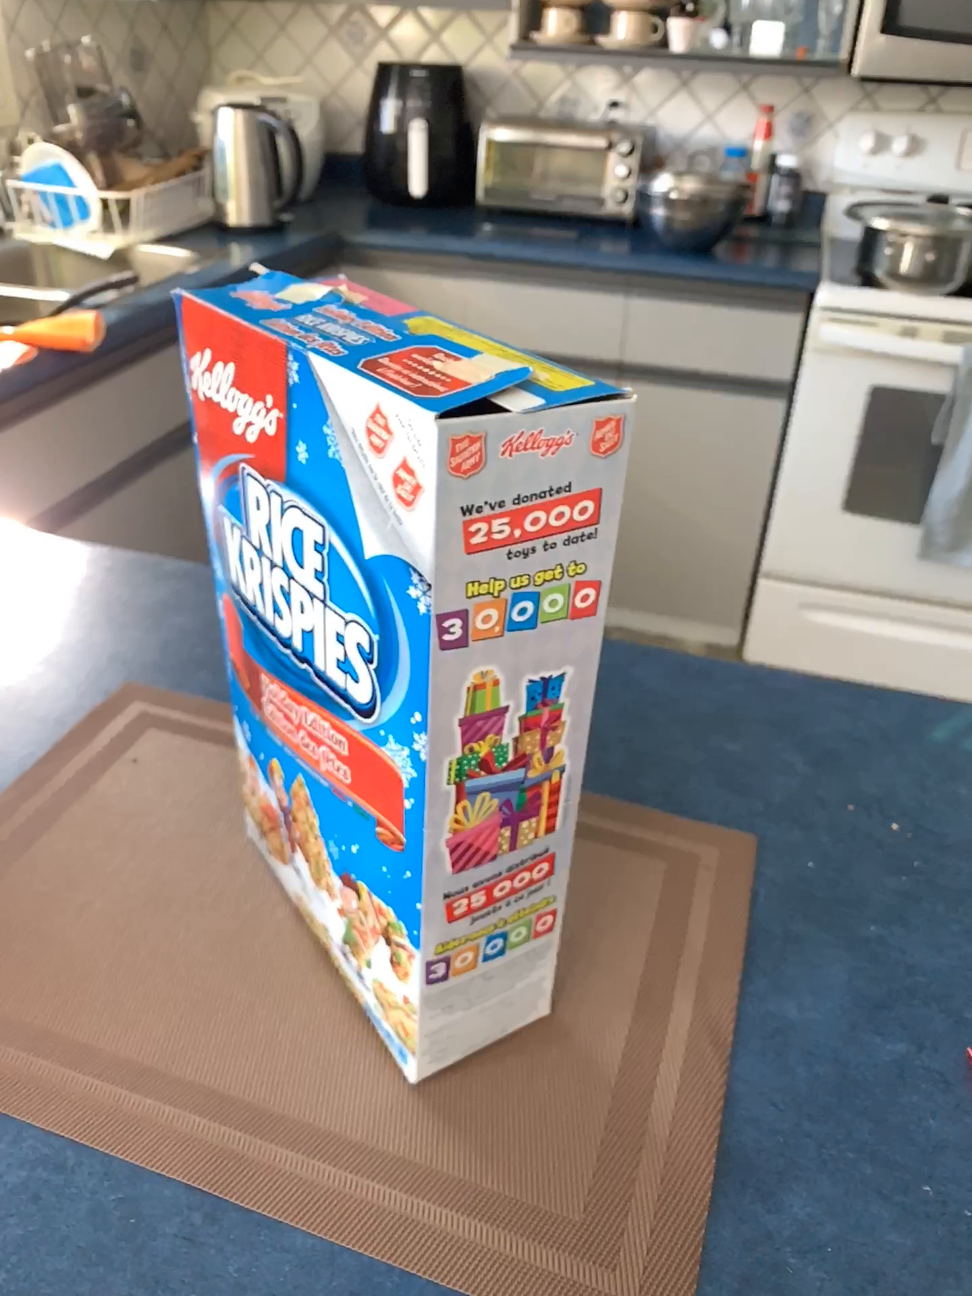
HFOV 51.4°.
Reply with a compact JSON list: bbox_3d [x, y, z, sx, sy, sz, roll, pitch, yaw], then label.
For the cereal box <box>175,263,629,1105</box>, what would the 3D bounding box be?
[{"bbox_3d":[-0.056,0.011,0.483,0.080,0.327,0.221,-16,36,-31],"label":"cereal box"}]
